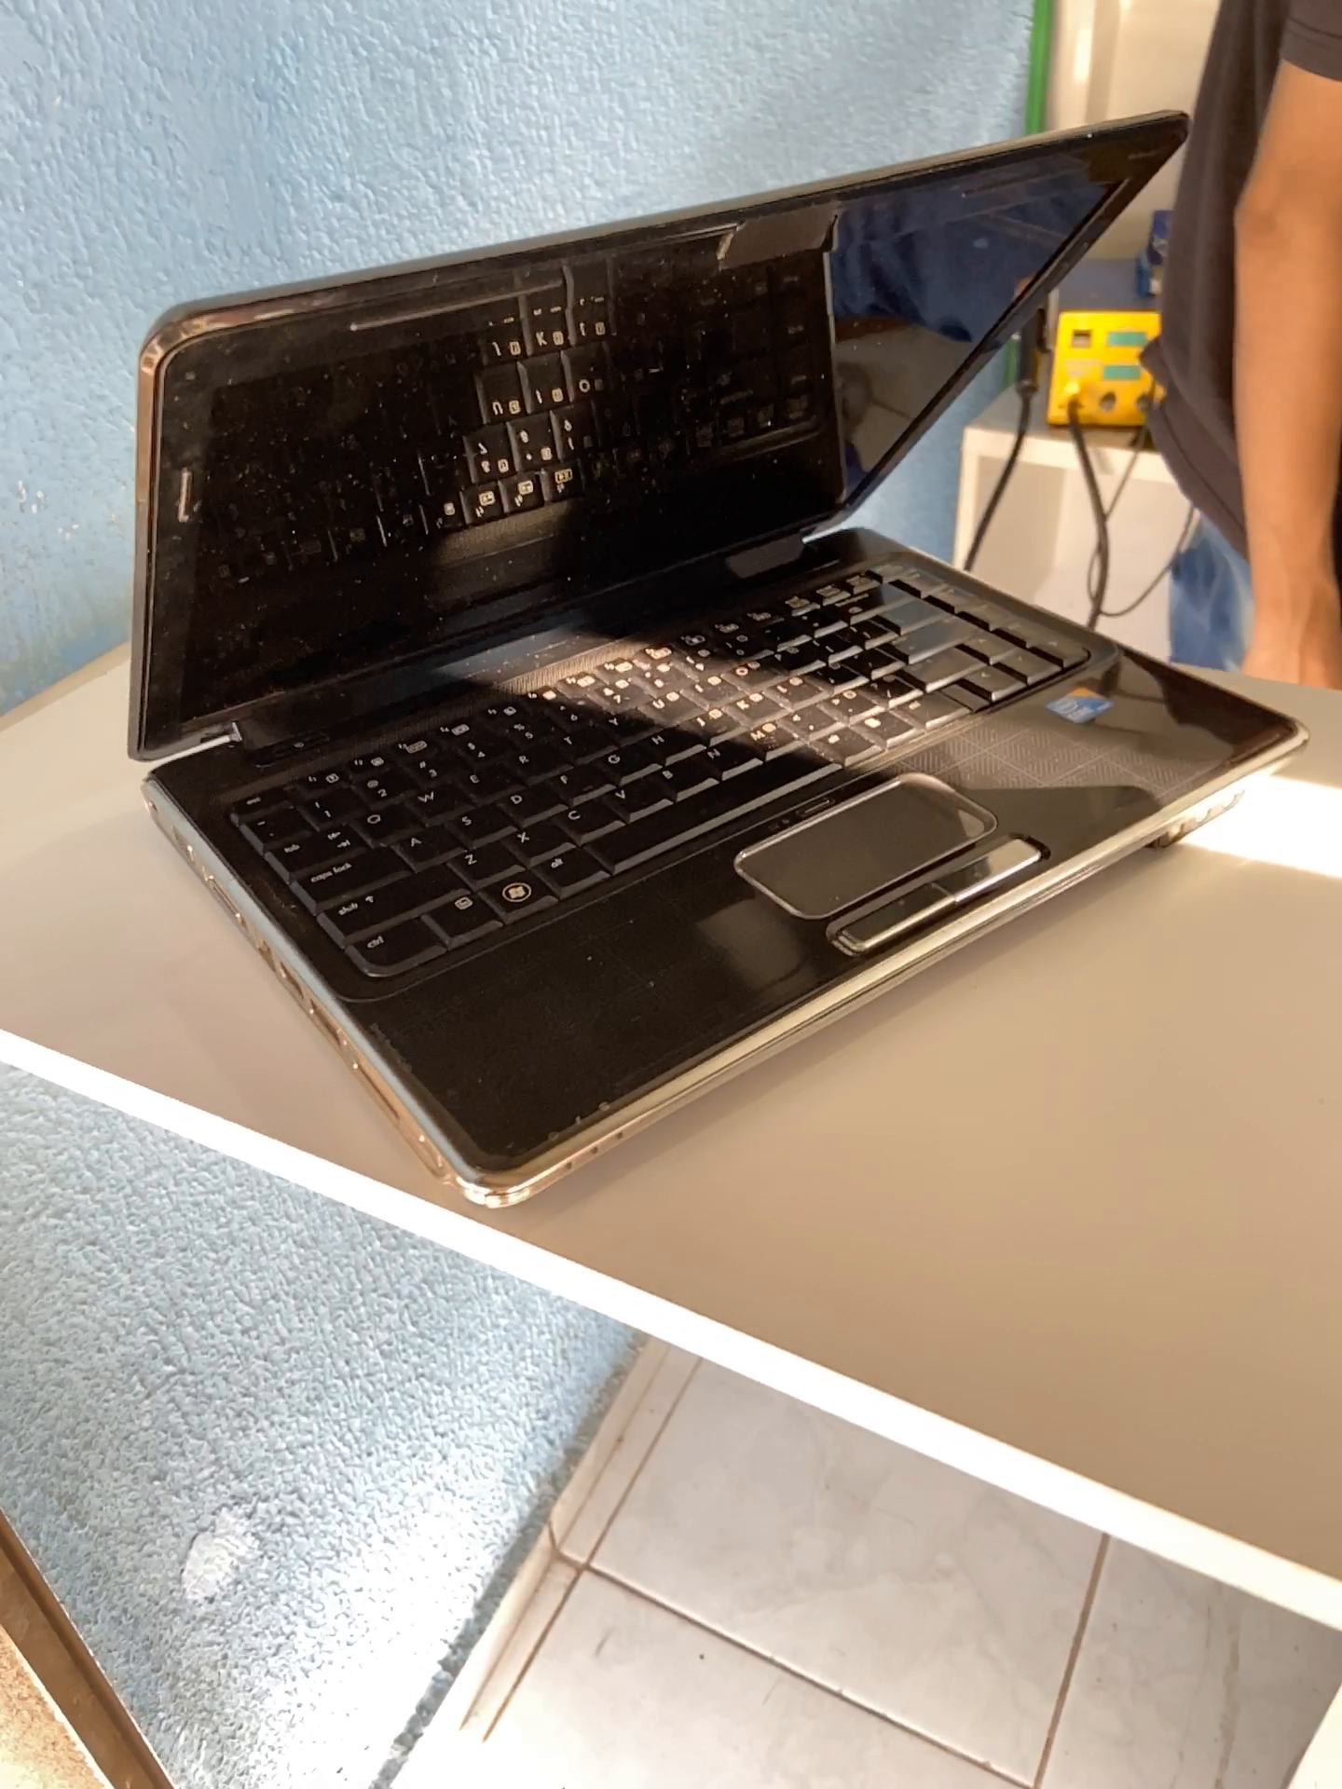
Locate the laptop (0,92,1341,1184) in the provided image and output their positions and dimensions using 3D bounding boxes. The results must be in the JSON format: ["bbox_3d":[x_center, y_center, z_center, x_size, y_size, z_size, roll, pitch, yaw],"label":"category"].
[{"bbox_3d":[0.019,-0.117,0.421,0.326,0.165,0.226,-25,43,-27],"label":"laptop"}]
